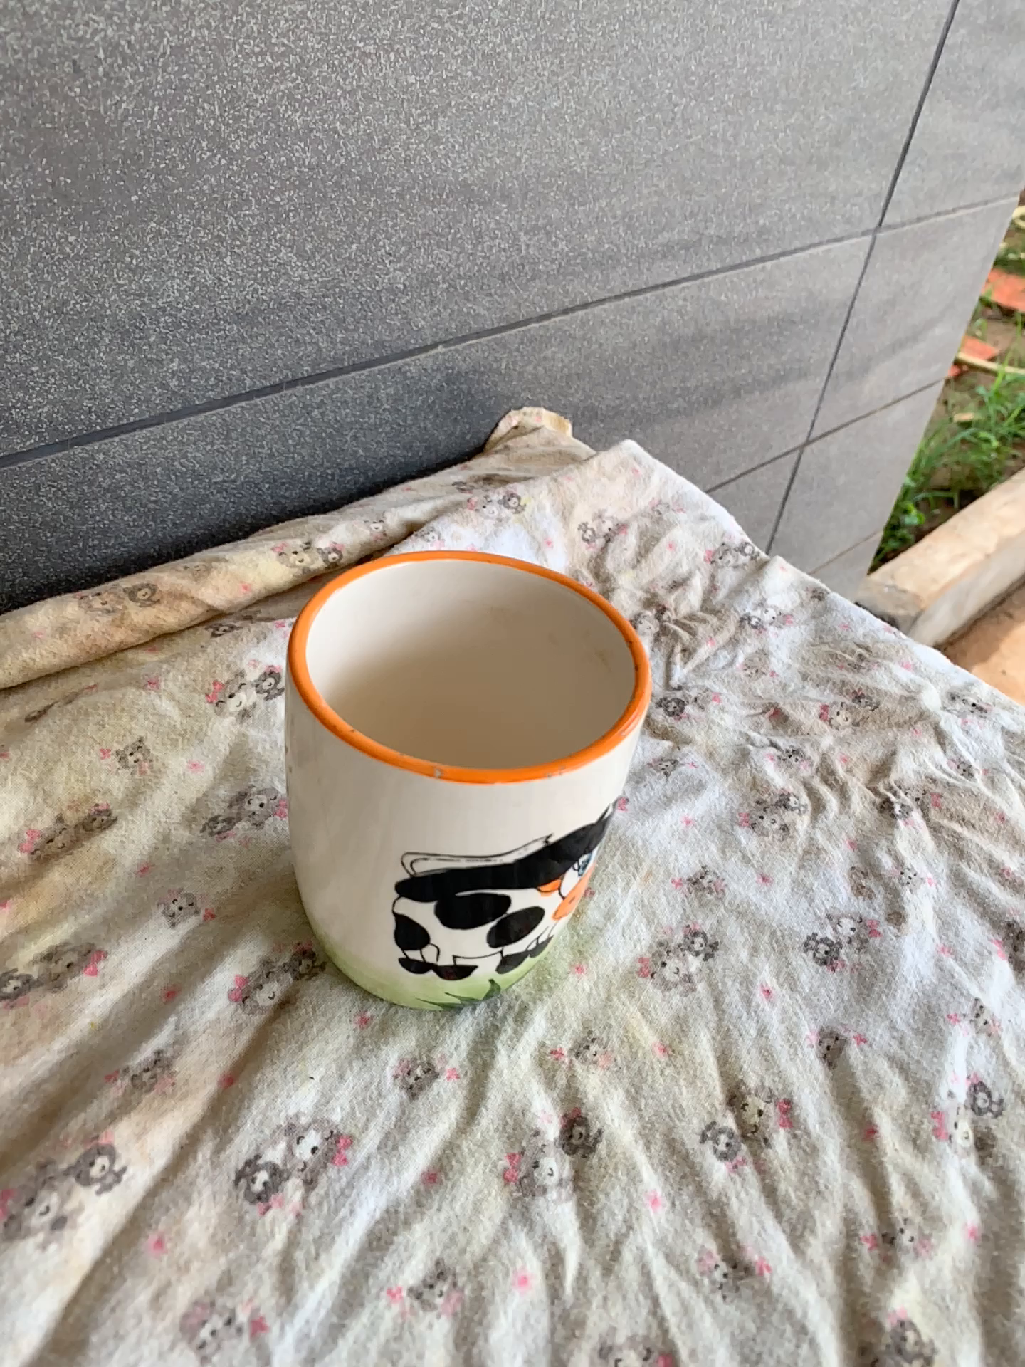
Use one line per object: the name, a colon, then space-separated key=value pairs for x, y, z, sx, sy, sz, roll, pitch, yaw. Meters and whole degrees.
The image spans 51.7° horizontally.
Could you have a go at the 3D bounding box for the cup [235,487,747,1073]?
cup: x=-0.013 y=0.018 z=0.241 sx=0.080 sy=0.090 sz=0.080 roll=6 pitch=40 yaw=-5
